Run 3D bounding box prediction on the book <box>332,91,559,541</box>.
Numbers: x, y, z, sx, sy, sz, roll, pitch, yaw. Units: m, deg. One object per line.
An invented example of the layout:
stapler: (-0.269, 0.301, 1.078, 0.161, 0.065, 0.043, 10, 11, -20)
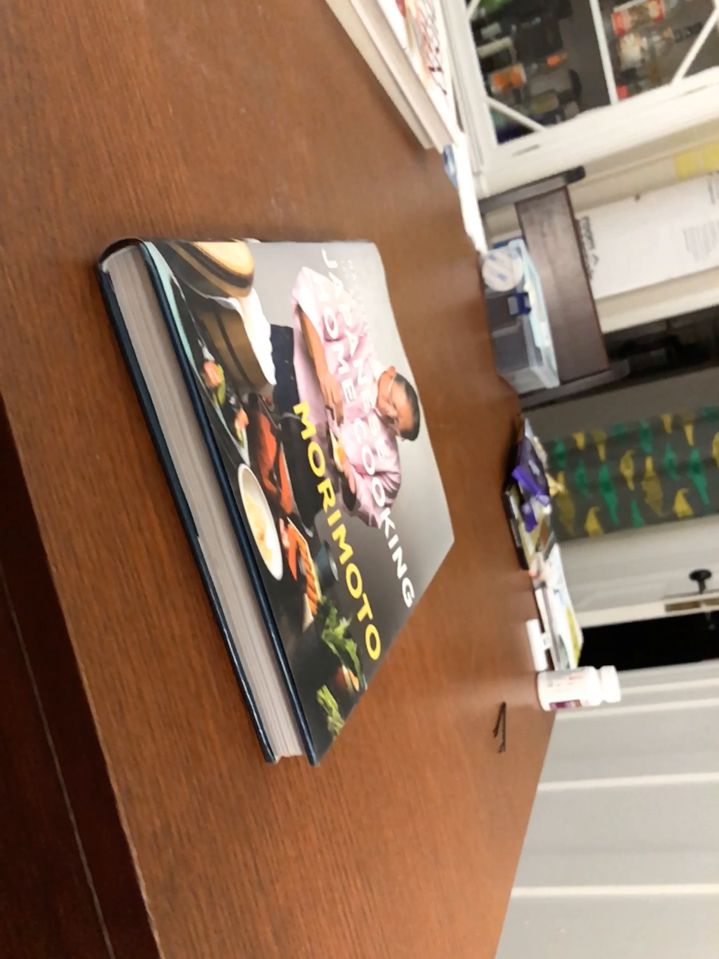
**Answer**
book: (0.074, -0.075, 0.536, 0.301, 0.030, 0.220, 14, 65, -66)
